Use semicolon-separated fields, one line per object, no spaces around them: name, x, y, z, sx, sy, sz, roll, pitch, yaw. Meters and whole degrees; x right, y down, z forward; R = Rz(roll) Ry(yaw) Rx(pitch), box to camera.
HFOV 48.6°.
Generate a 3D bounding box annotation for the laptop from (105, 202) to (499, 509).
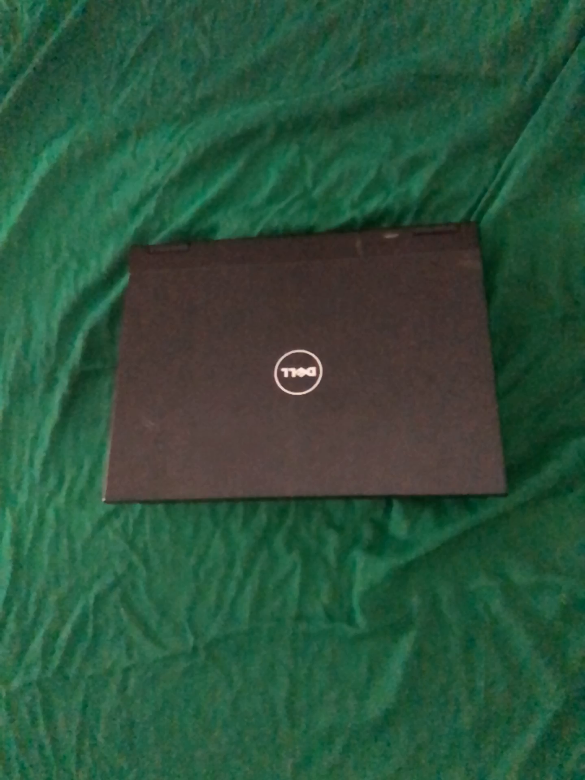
laptop;0.008;-0.019;0.544;0.306;0.066;0.226;-2;92;8
